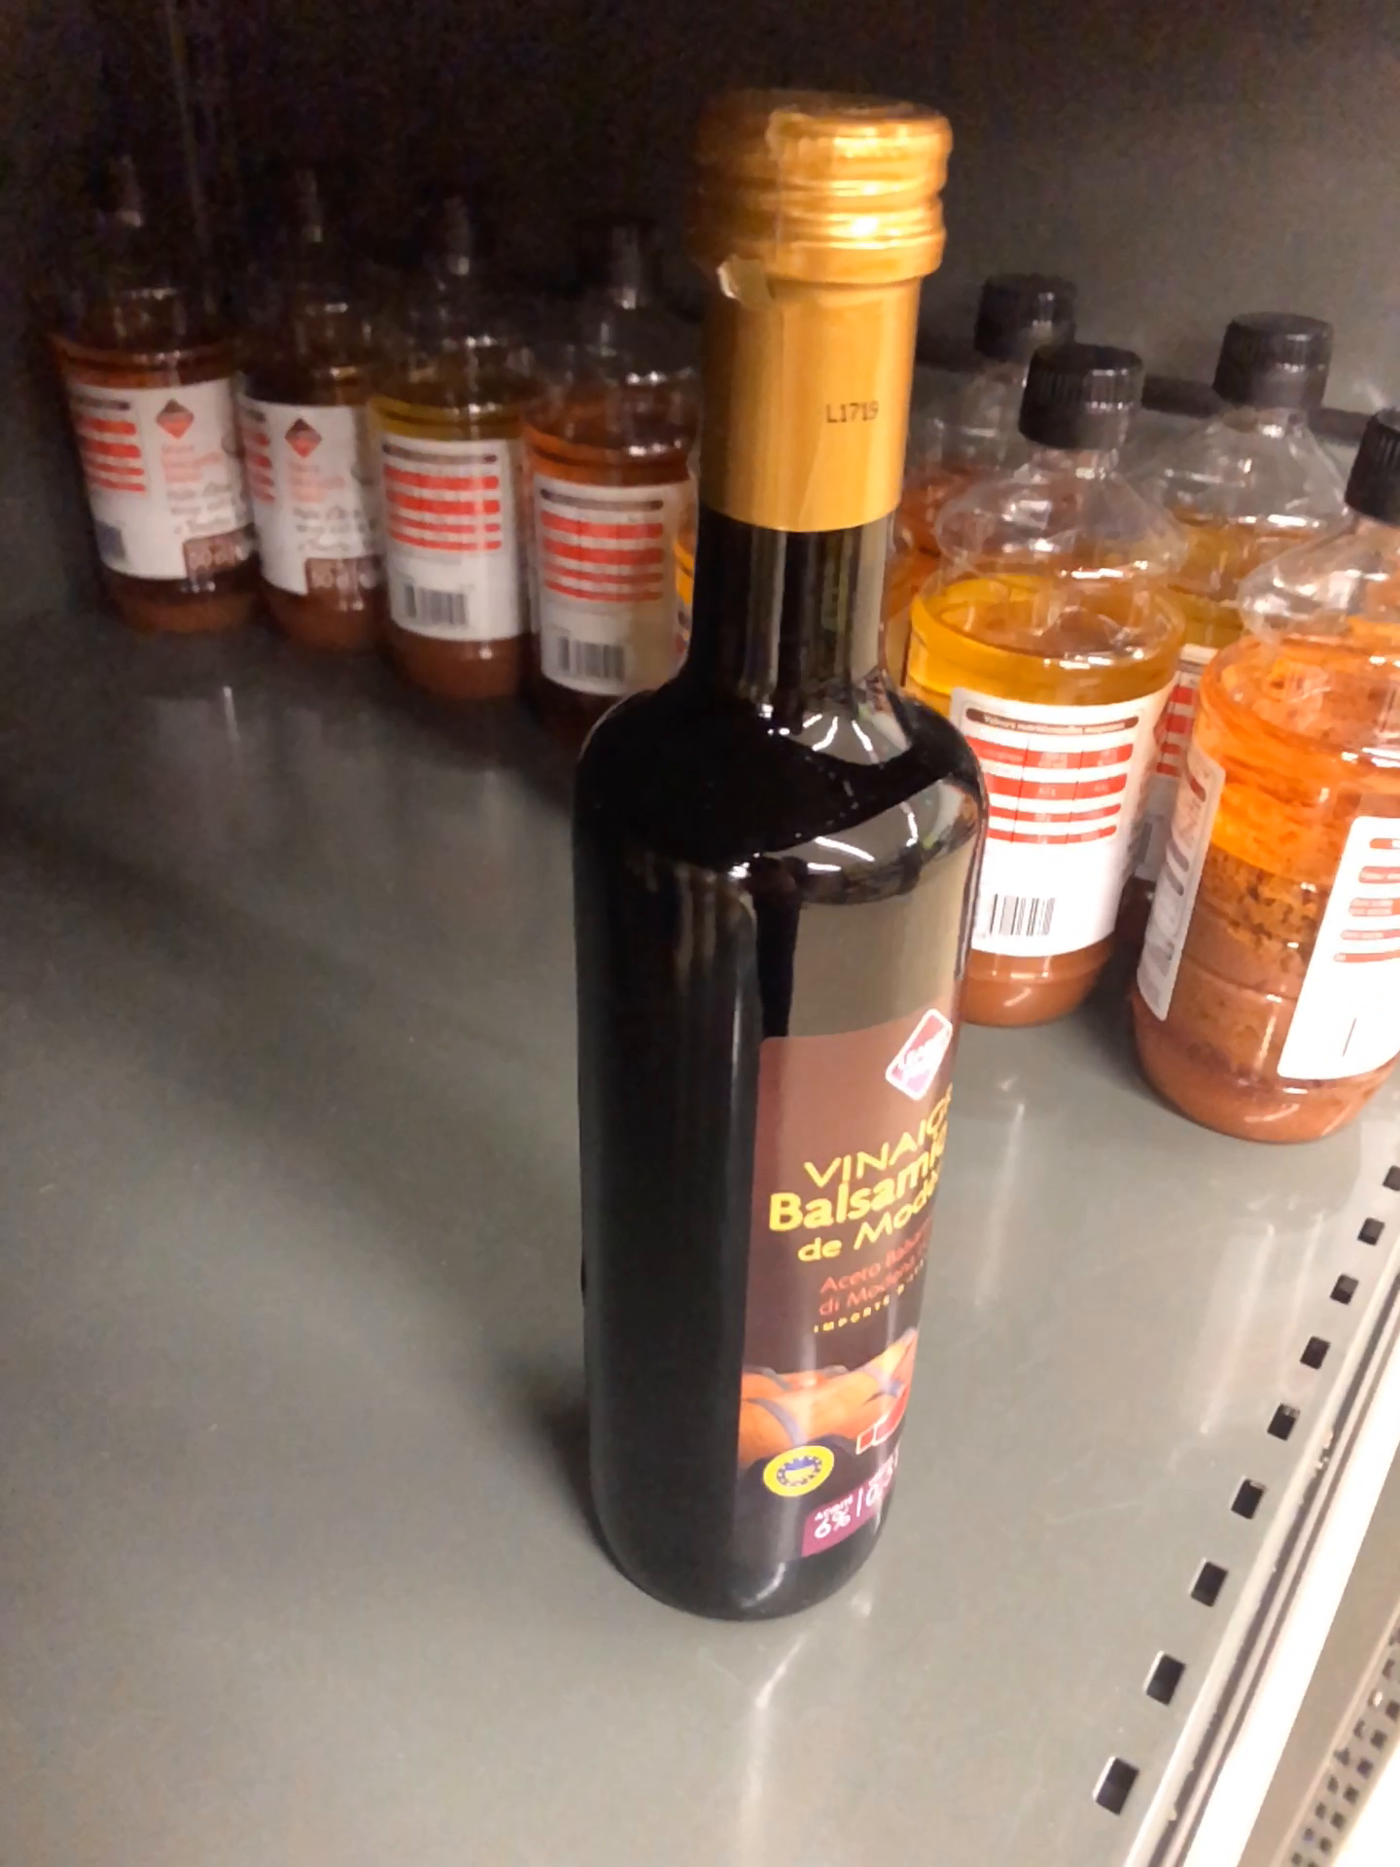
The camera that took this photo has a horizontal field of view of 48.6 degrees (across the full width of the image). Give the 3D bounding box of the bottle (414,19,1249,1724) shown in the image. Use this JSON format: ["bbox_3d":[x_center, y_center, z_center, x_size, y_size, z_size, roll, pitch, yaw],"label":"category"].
[{"bbox_3d":[0.012,0.008,0.256,0.070,0.268,0.070,2,33,-1],"label":"bottle"}]
